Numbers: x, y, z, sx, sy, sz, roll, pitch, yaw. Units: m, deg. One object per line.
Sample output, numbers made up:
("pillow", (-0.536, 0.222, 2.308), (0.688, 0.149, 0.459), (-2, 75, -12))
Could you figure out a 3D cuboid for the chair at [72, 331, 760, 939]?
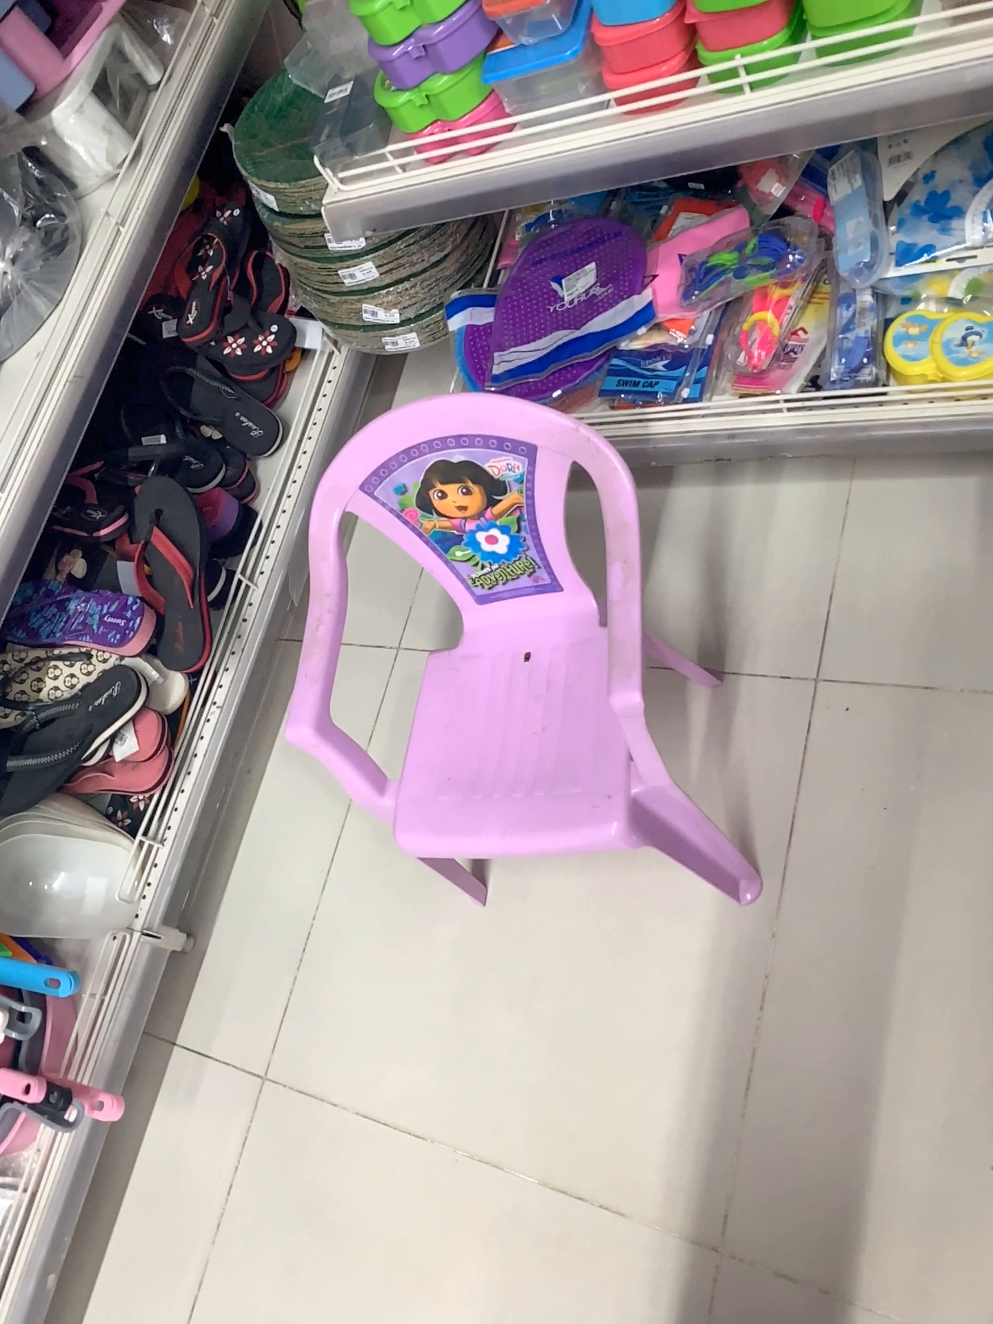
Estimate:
("chair", (-0.025, 0.033, 0.893), (0.401, 0.428, 0.340), (-7, 63, 27))
